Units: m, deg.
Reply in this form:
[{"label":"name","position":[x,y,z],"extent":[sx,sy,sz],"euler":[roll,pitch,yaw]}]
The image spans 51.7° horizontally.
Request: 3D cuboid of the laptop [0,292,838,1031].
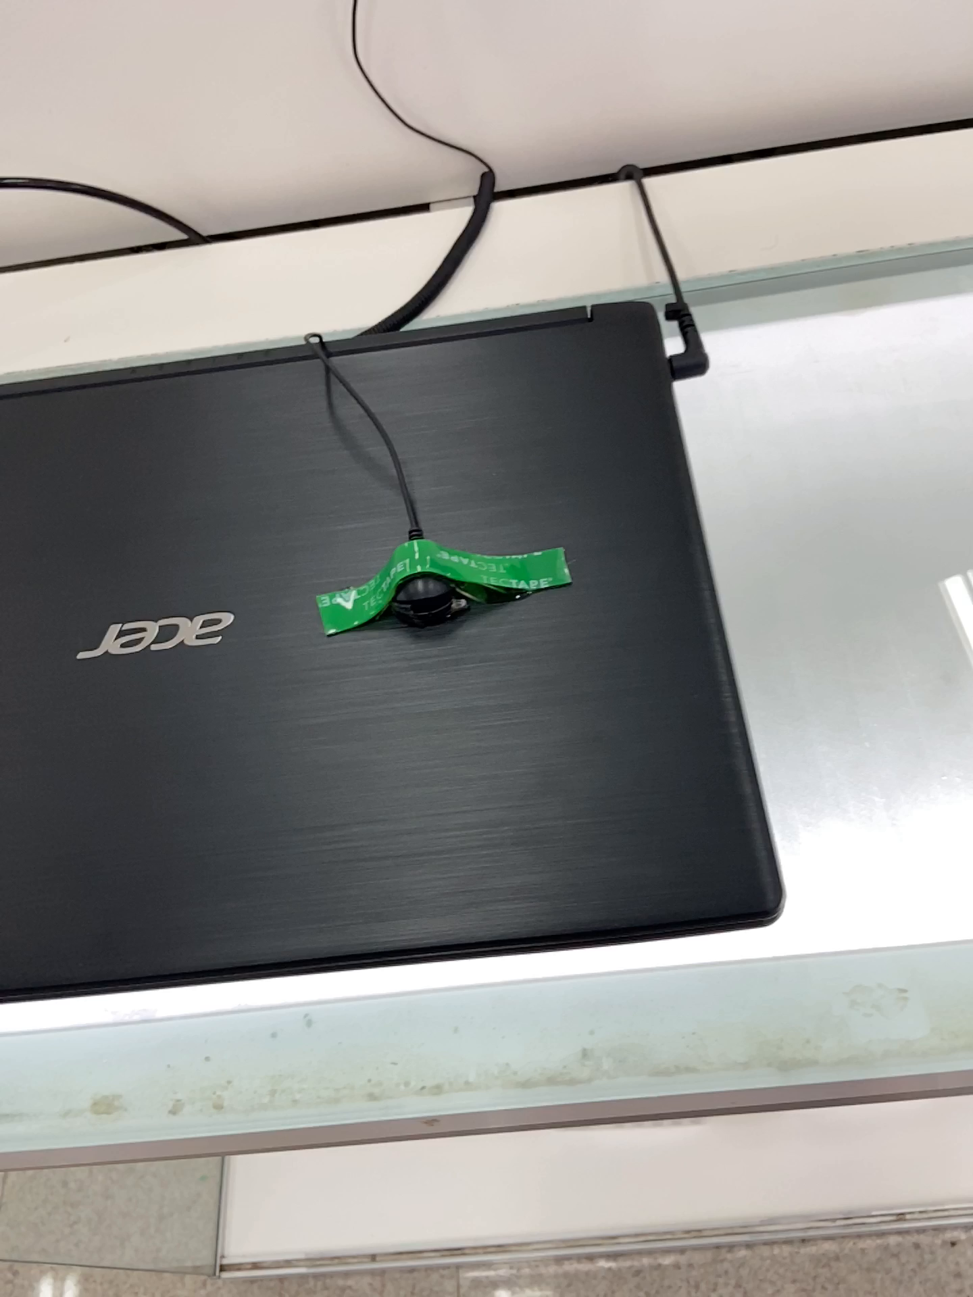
[{"label":"laptop","position":[-0.105,-0.015,0.350],"extent":[0.386,0.001,0.248],"euler":[-7,57,4]}]
